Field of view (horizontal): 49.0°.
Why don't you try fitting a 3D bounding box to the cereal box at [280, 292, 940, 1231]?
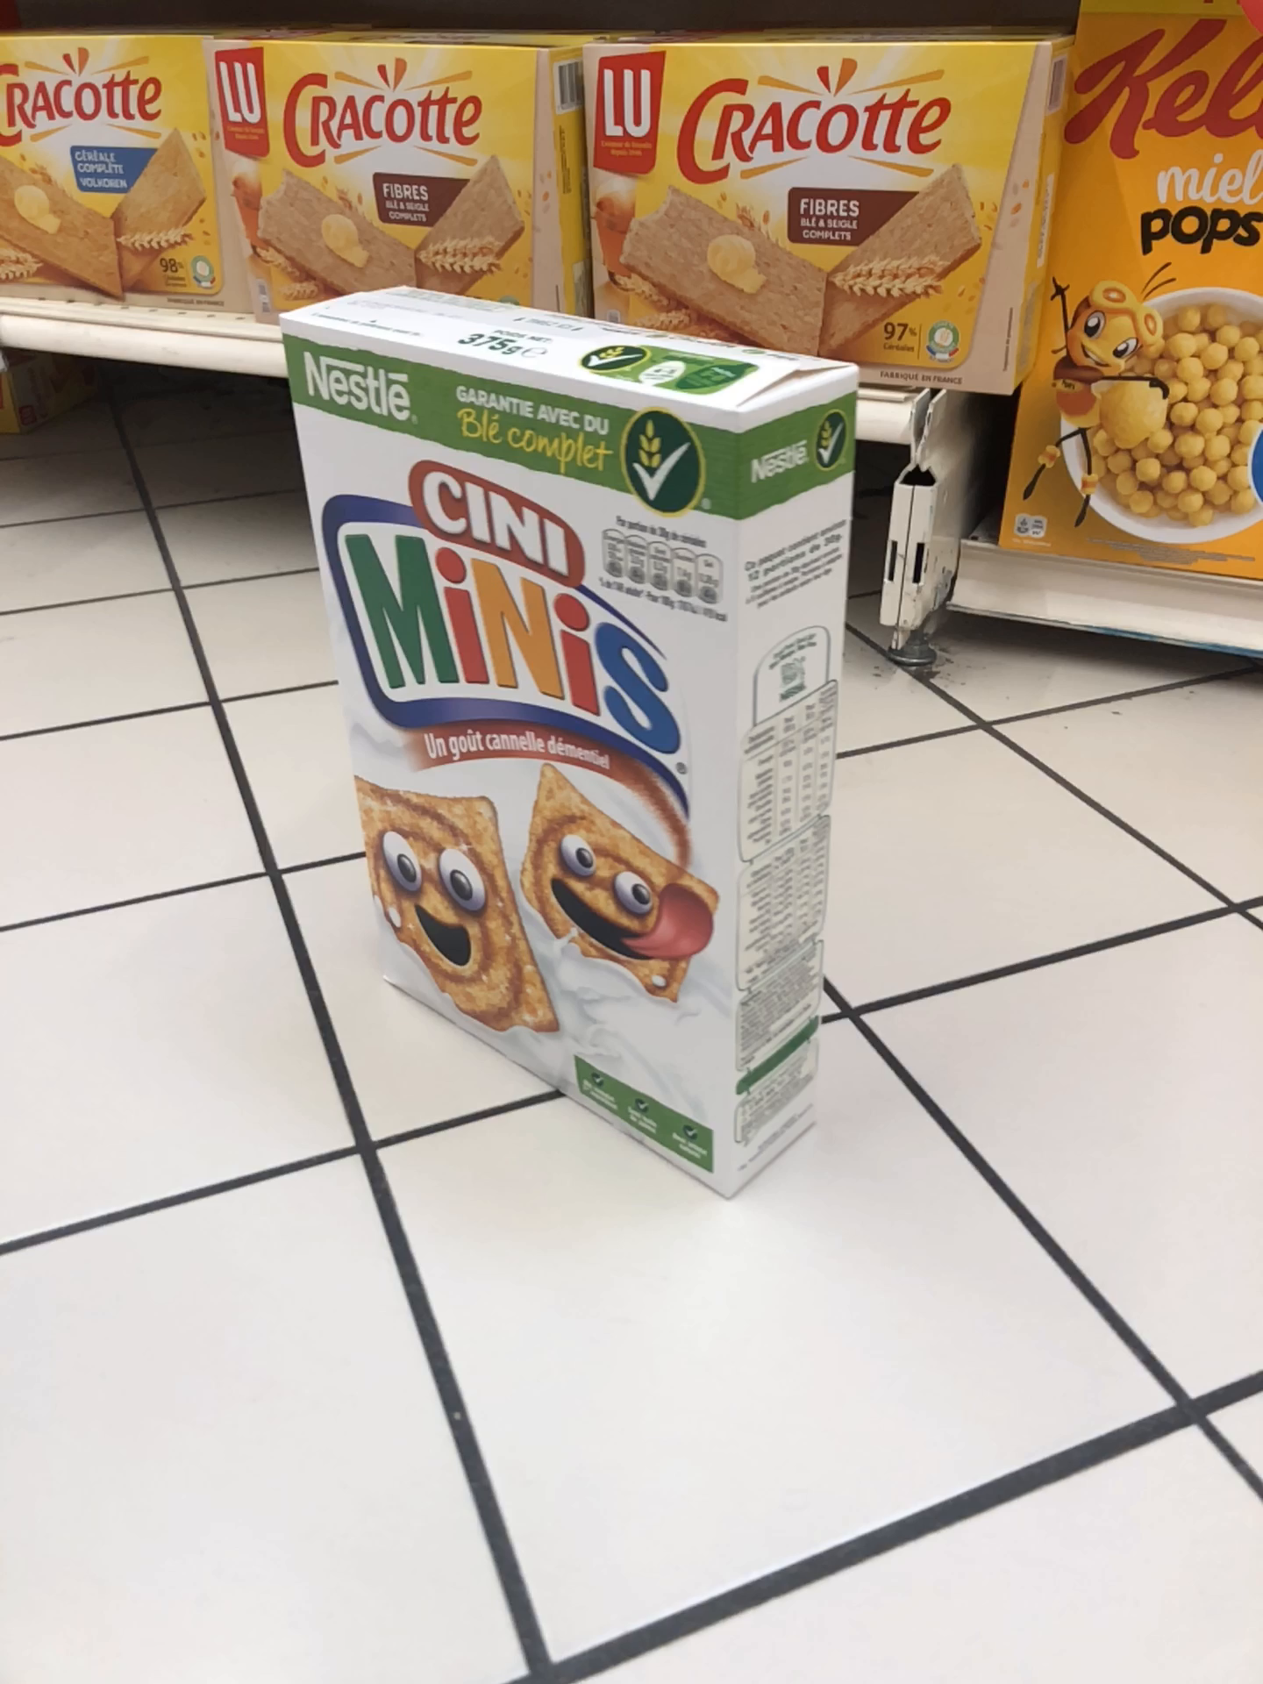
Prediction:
[{"bbox_3d":[-0.013,-0.032,0.479,0.200,0.268,0.070,24,38,35],"label":"cereal box"}]
